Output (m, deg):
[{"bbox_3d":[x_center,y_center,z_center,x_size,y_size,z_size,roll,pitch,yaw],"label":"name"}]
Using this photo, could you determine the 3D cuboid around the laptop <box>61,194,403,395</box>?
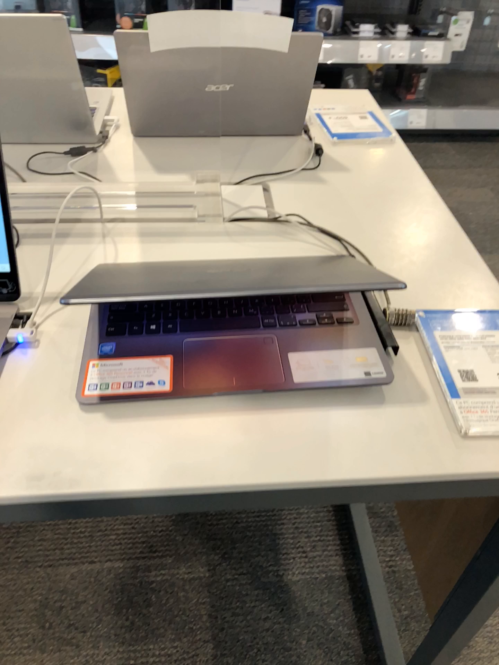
[{"bbox_3d":[-0.023,-0.051,0.586,0.300,0.099,0.202,-3,42,-7],"label":"laptop"}]
